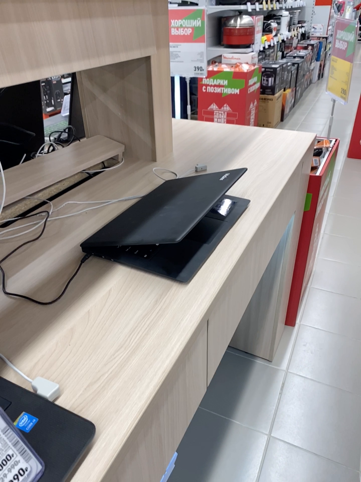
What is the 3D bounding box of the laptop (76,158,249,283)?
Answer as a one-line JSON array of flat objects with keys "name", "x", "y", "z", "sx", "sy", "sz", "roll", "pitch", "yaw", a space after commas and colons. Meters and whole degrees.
[{"name": "laptop", "x": -0.015, "y": -0.065, "z": 0.721, "sx": 0.201, "sy": 0.072, "sz": 0.320, "roll": 15, "pitch": 35, "yaw": 23}]
